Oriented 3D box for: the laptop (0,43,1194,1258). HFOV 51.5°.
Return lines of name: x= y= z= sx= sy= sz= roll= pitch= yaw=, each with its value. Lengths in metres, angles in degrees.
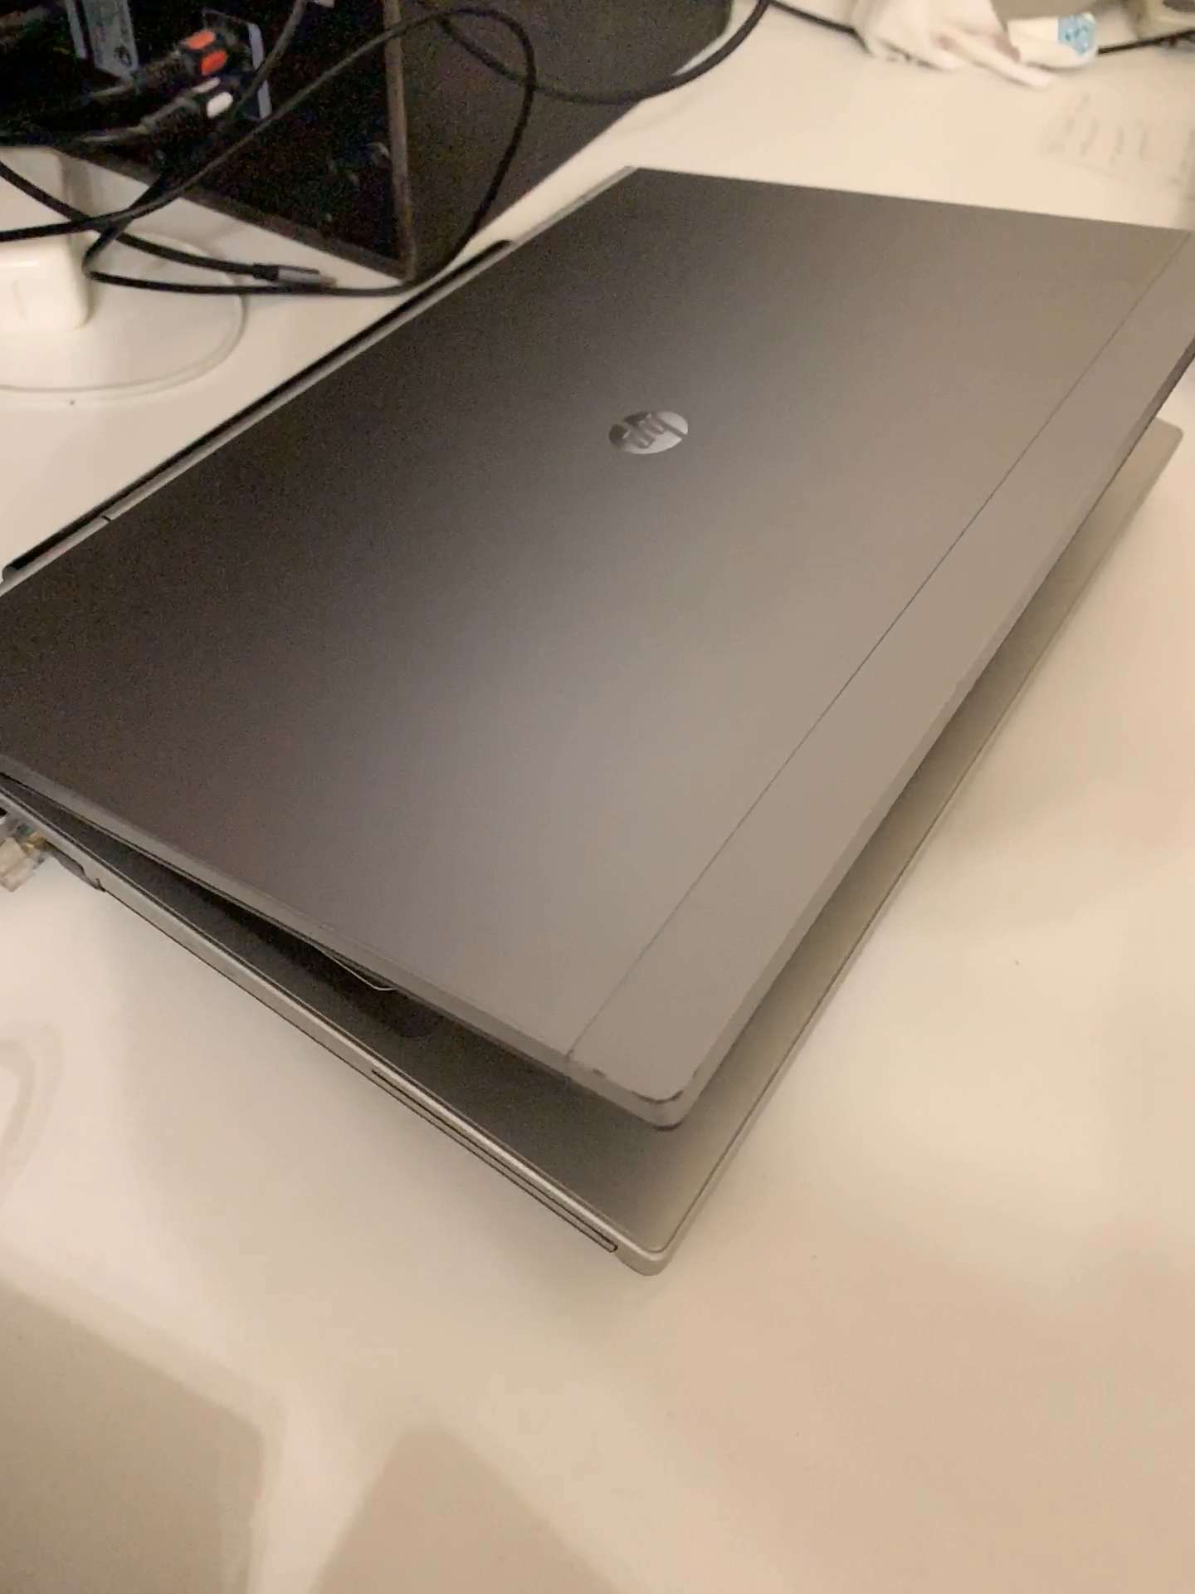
laptop: x=0.008 y=-0.082 z=0.309 sx=0.200 sy=0.042 sz=0.305 roll=32 pitch=56 yaw=14
